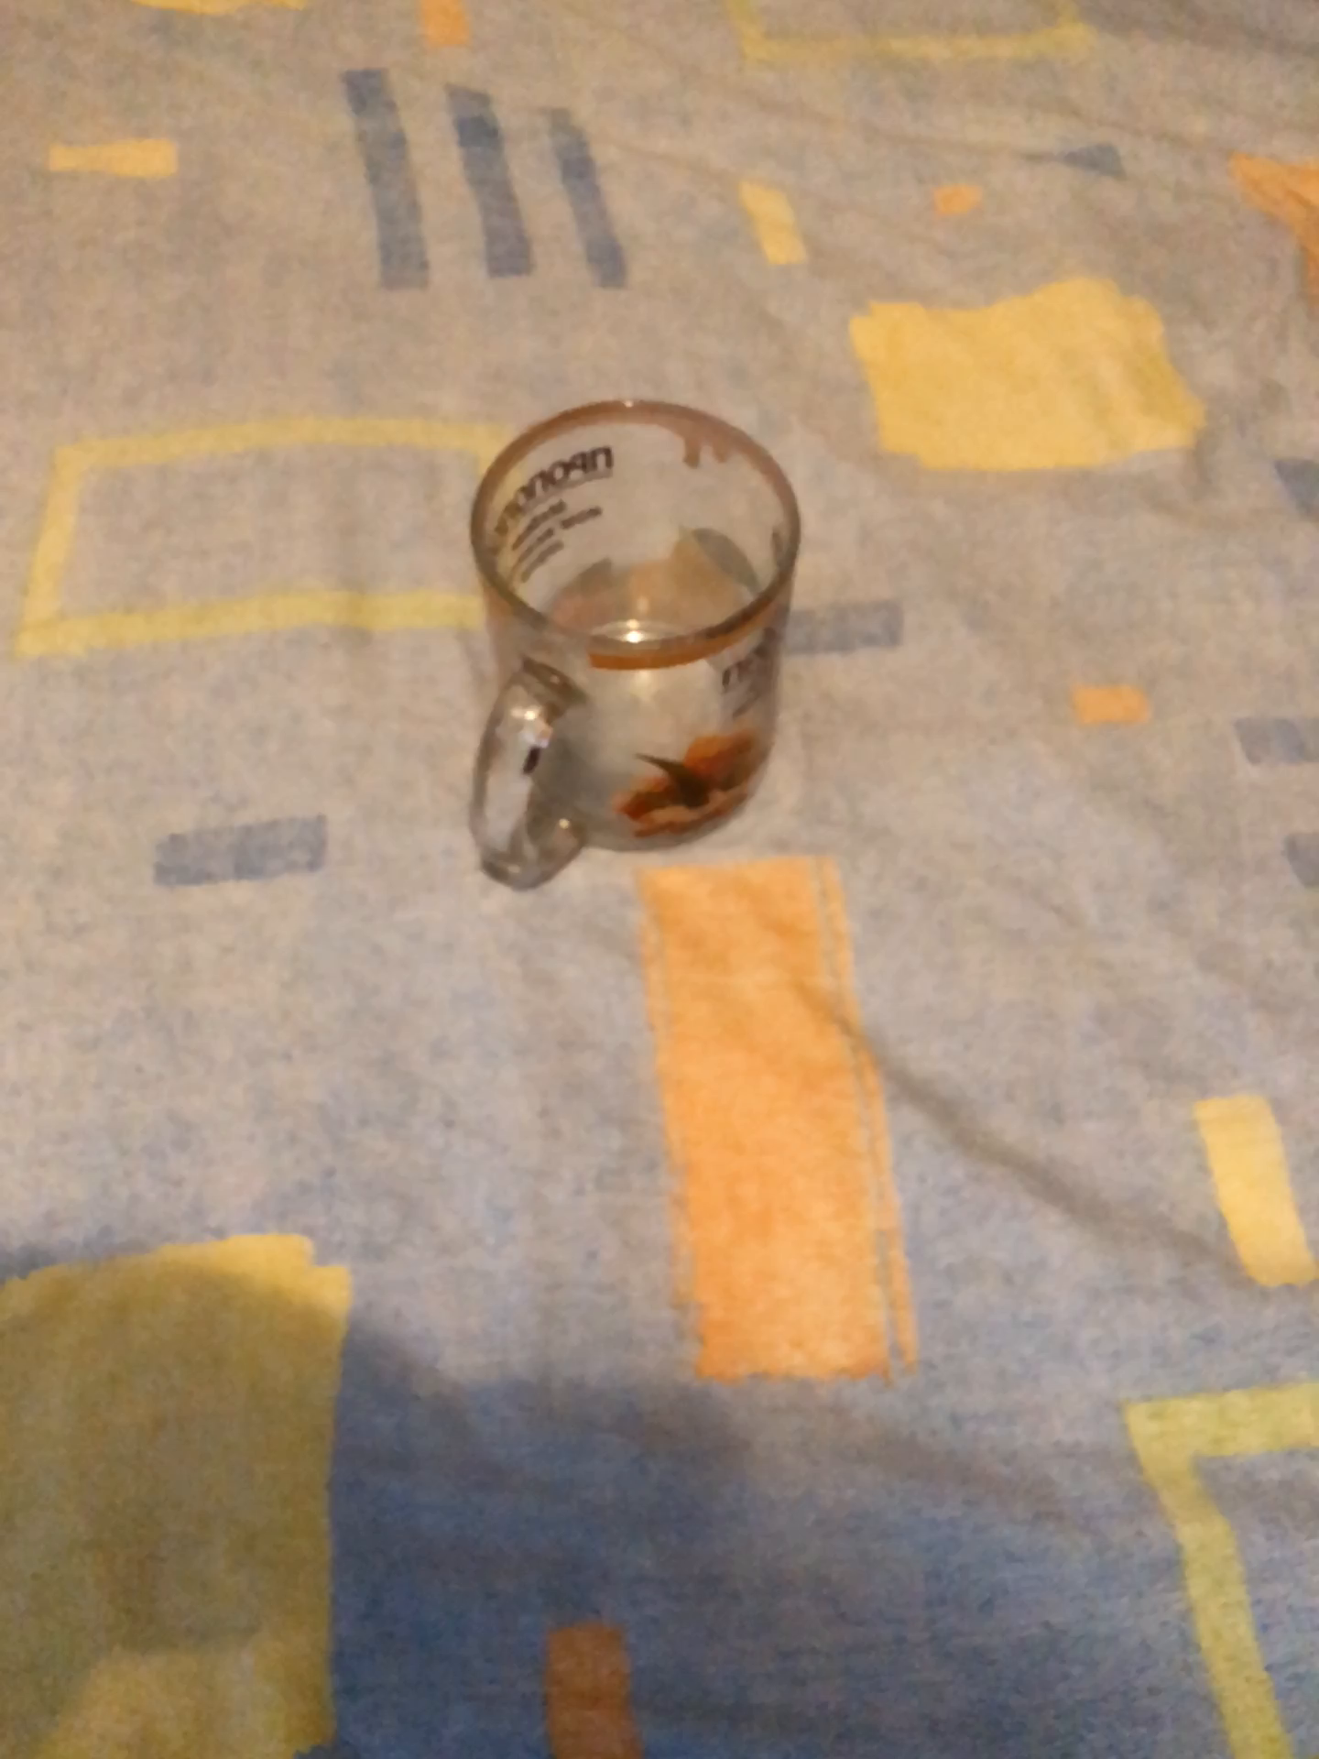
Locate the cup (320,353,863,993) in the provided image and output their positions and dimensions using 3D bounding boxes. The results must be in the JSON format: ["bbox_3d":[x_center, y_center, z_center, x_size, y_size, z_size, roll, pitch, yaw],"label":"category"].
[{"bbox_3d":[-0.014,-0.052,0.383,0.084,0.092,0.110,24,62,12],"label":"cup"}]
